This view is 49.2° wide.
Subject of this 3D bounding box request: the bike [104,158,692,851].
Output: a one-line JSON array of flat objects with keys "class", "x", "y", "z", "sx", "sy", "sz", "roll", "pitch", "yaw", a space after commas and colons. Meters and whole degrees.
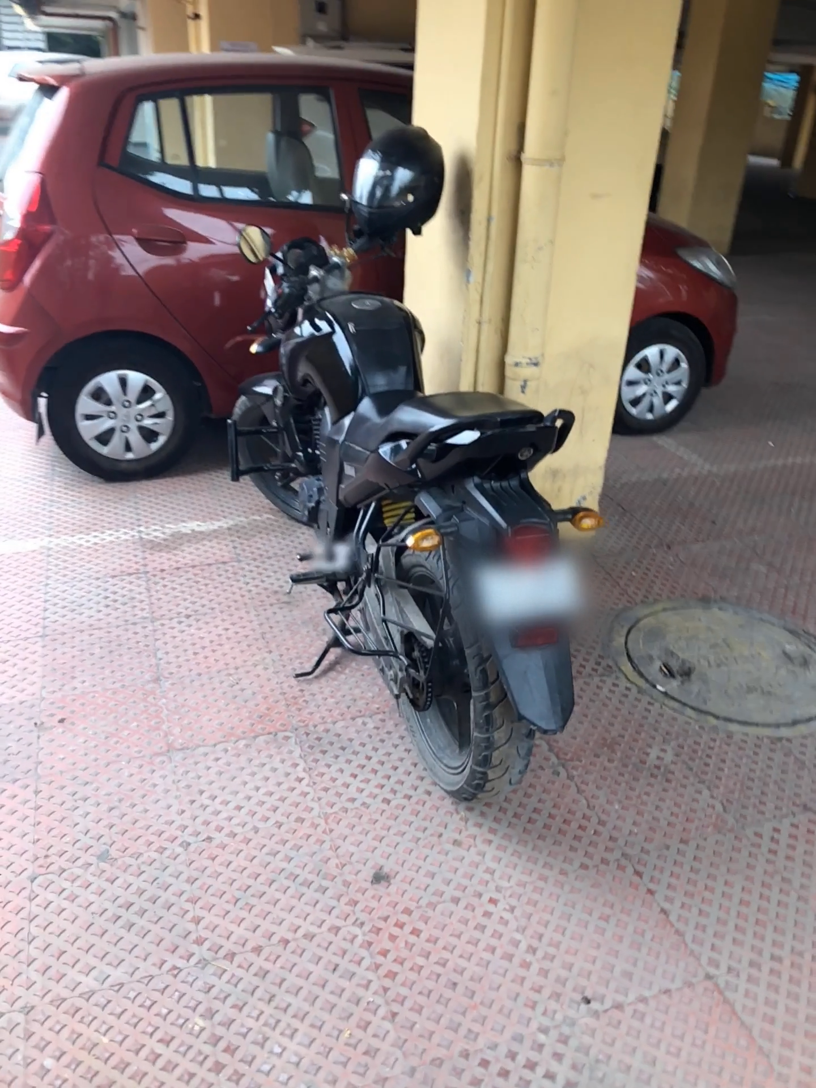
[{"class": "bike", "x": -0.239, "y": -0.313, "z": 2.345, "sx": 0.610, "sy": 1.052, "sz": 1.807, "roll": -11, "pitch": 32, "yaw": -25}]
